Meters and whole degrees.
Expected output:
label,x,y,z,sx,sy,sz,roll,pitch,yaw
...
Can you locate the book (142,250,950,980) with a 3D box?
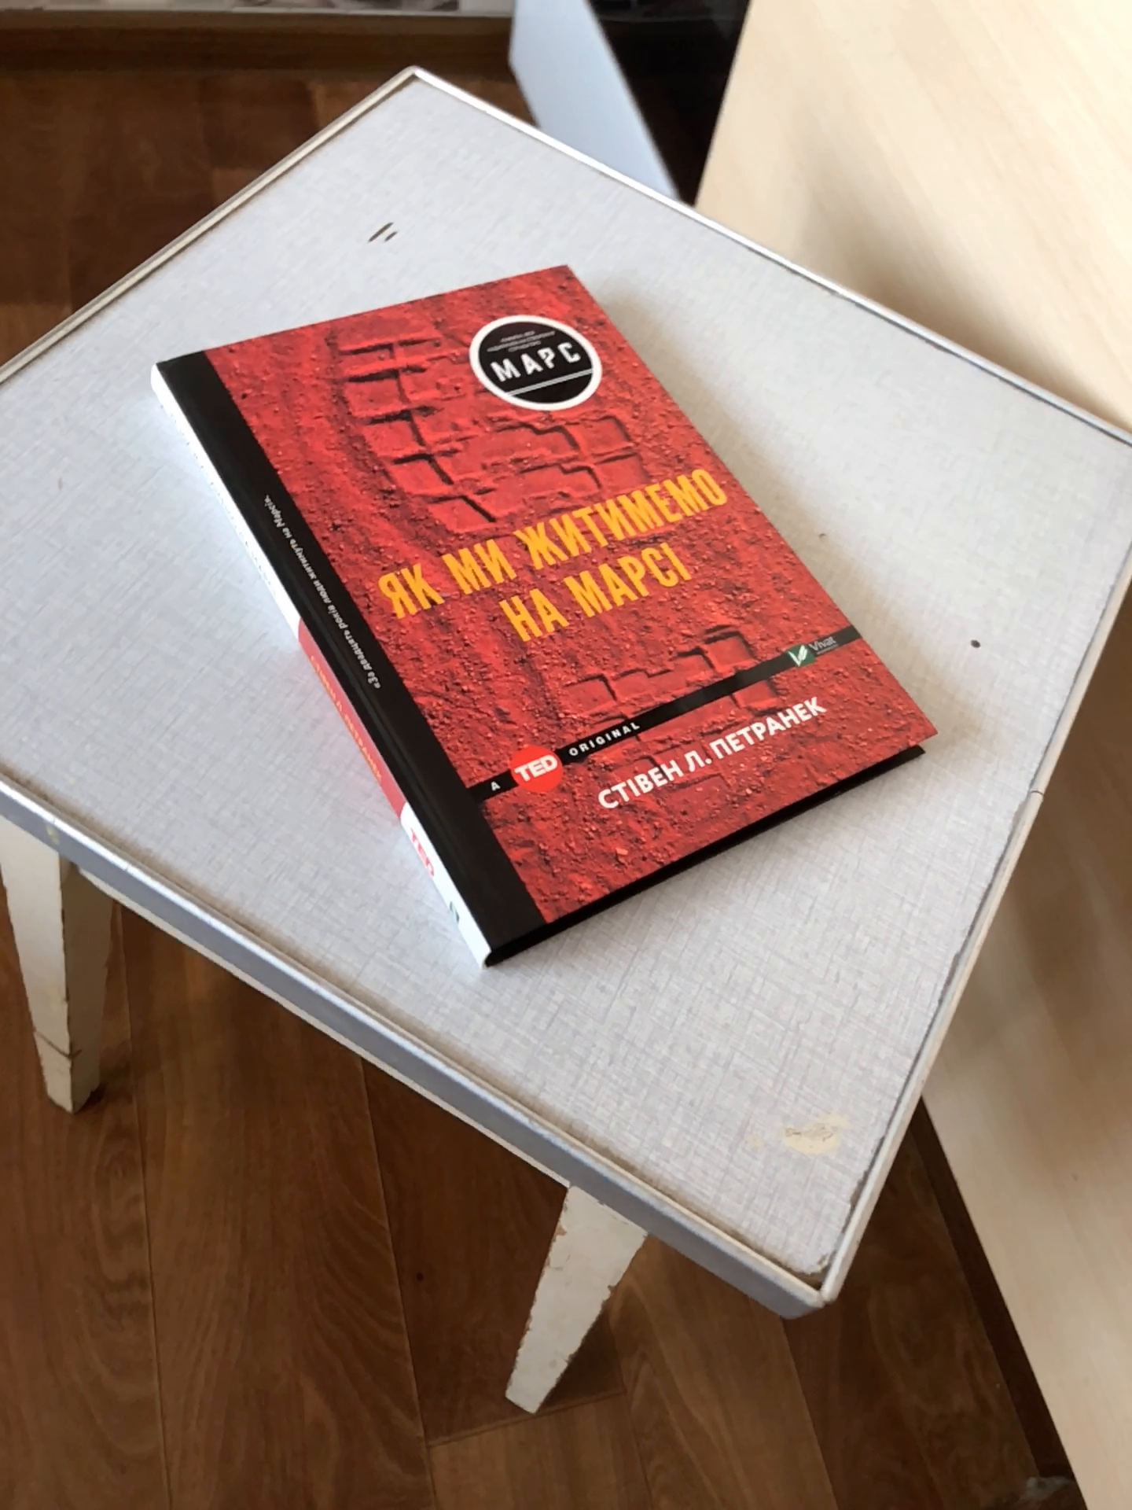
label,x,y,z,sx,sy,sz,roll,pitch,yaw
book,-0.011,-0.059,0.366,0.150,0.020,0.209,-23,66,-22
